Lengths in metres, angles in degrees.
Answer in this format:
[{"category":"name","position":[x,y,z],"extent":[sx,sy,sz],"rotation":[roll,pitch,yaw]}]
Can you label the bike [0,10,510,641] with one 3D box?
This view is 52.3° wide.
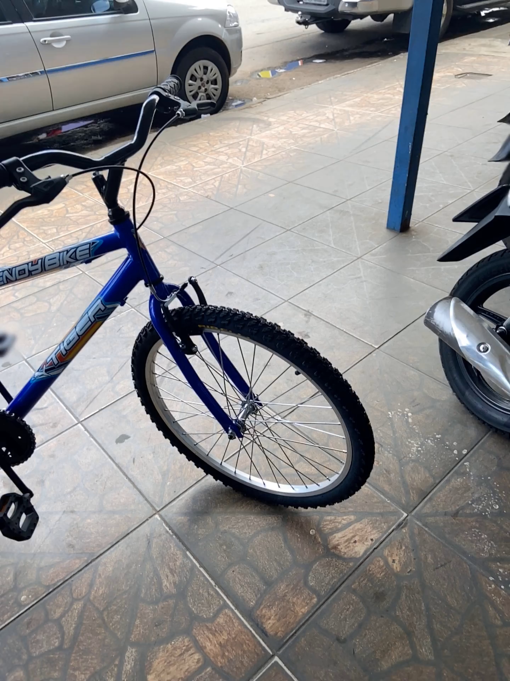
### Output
[{"category":"bike","position":[-0.531,0.063,1.027],"extent":[1.486,0.923,0.626],"rotation":[-5,39,6]}]
